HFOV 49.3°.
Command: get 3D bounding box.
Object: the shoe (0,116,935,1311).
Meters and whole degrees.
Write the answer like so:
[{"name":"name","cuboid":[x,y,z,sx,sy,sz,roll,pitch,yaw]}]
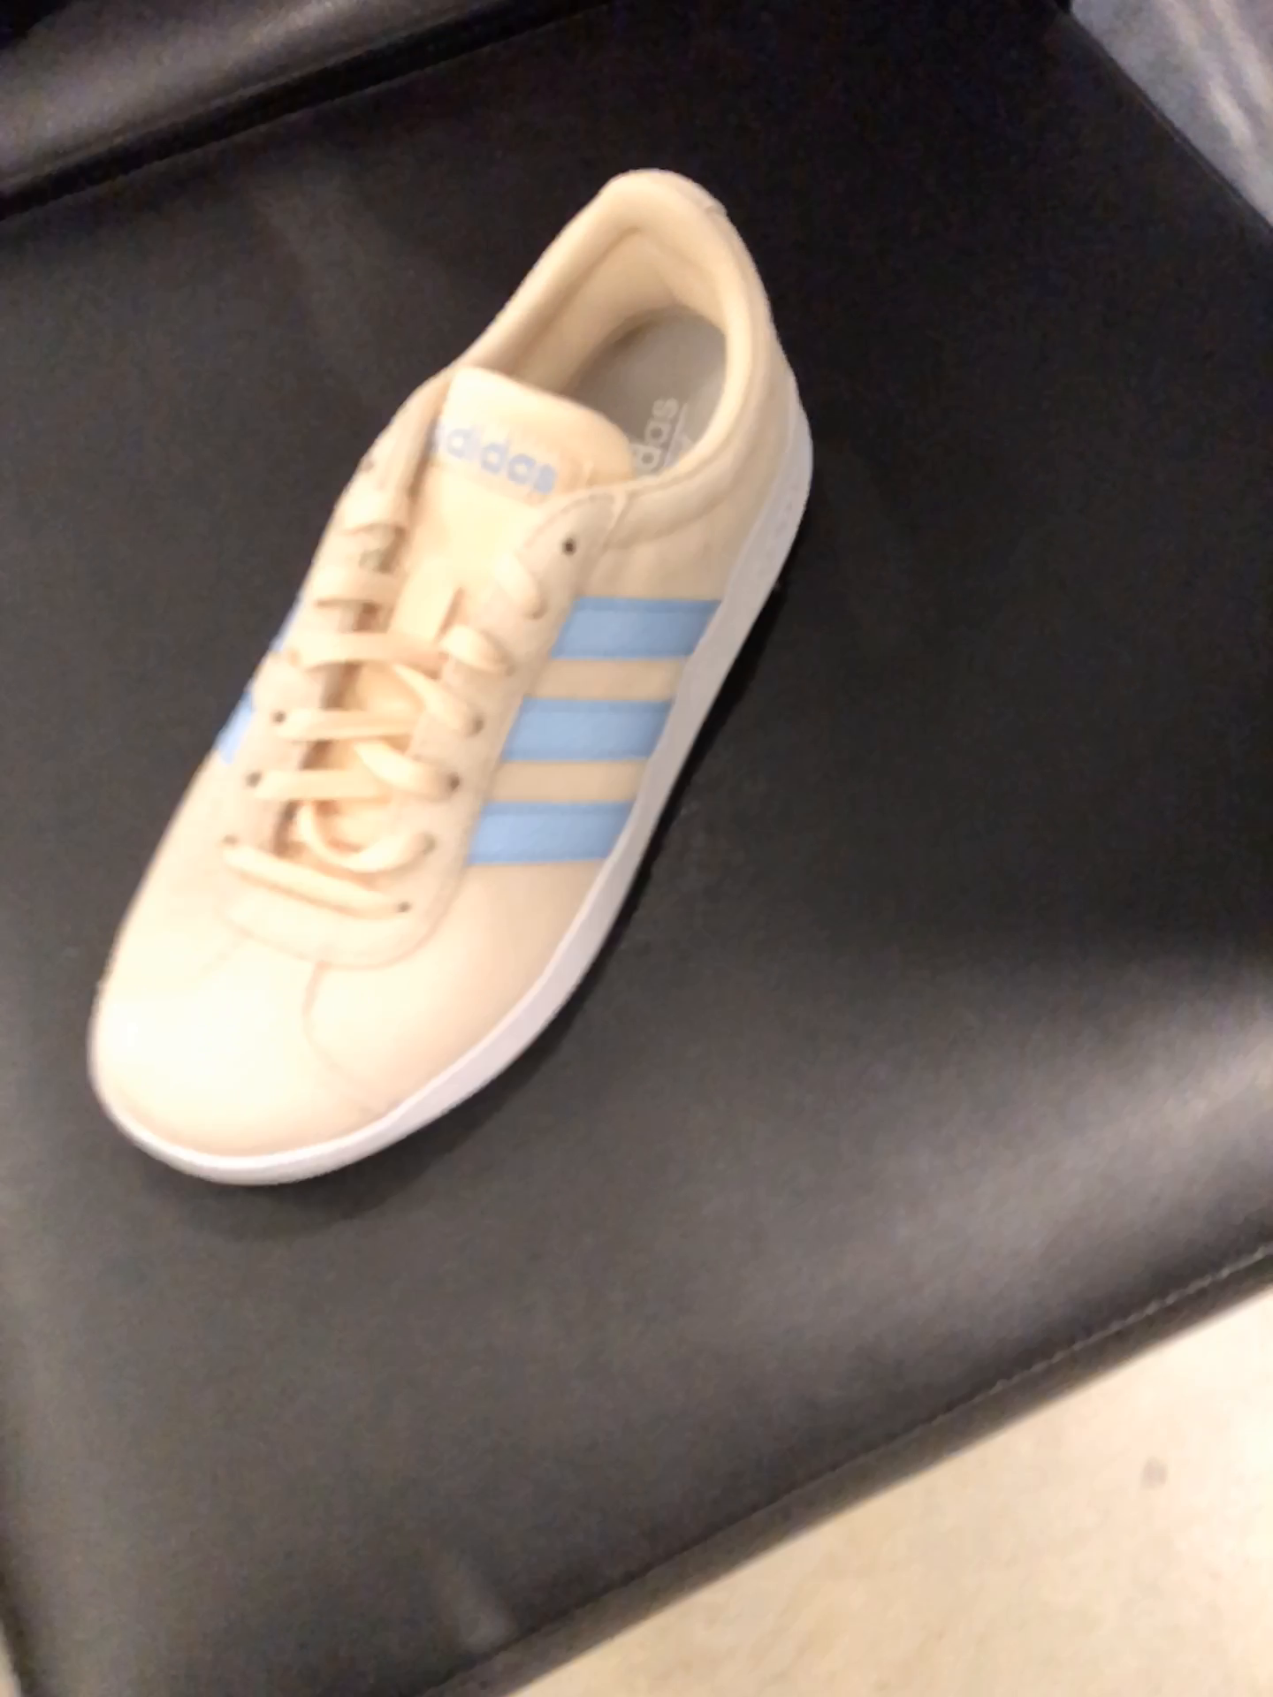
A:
[{"name":"shoe","cuboid":[-0.035,-0.040,0.331,0.100,0.090,0.260,26,69,13]}]
